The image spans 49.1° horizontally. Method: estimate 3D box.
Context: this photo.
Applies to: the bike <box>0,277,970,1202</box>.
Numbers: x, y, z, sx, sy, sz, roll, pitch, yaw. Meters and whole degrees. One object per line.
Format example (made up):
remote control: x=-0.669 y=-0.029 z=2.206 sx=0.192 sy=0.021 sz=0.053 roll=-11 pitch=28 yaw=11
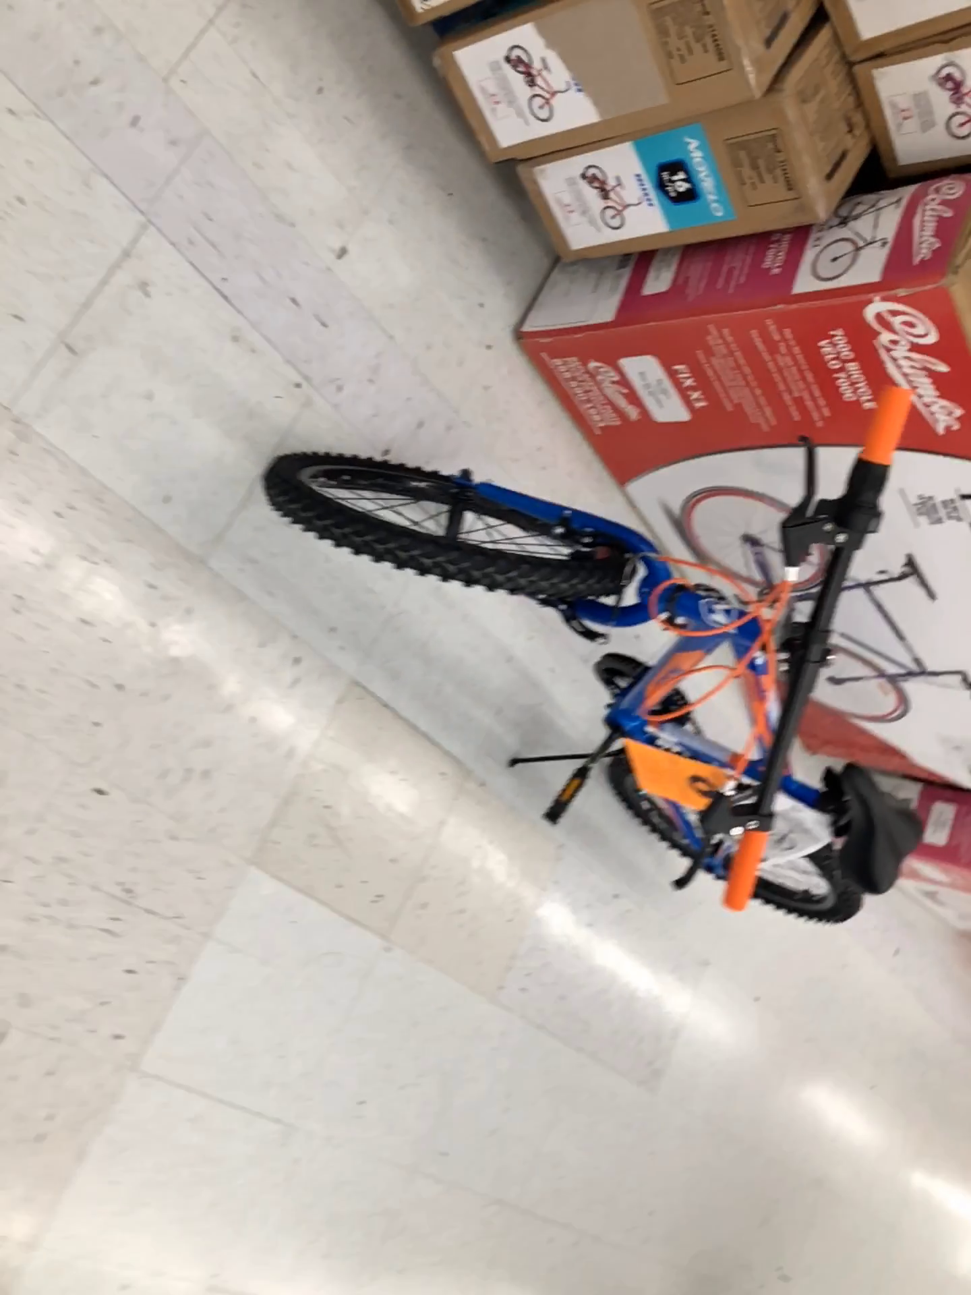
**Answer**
bike: x=0.210 y=0.184 z=1.585 sx=1.319 sy=0.870 sz=0.584 roll=40 pitch=68 yaw=-35
